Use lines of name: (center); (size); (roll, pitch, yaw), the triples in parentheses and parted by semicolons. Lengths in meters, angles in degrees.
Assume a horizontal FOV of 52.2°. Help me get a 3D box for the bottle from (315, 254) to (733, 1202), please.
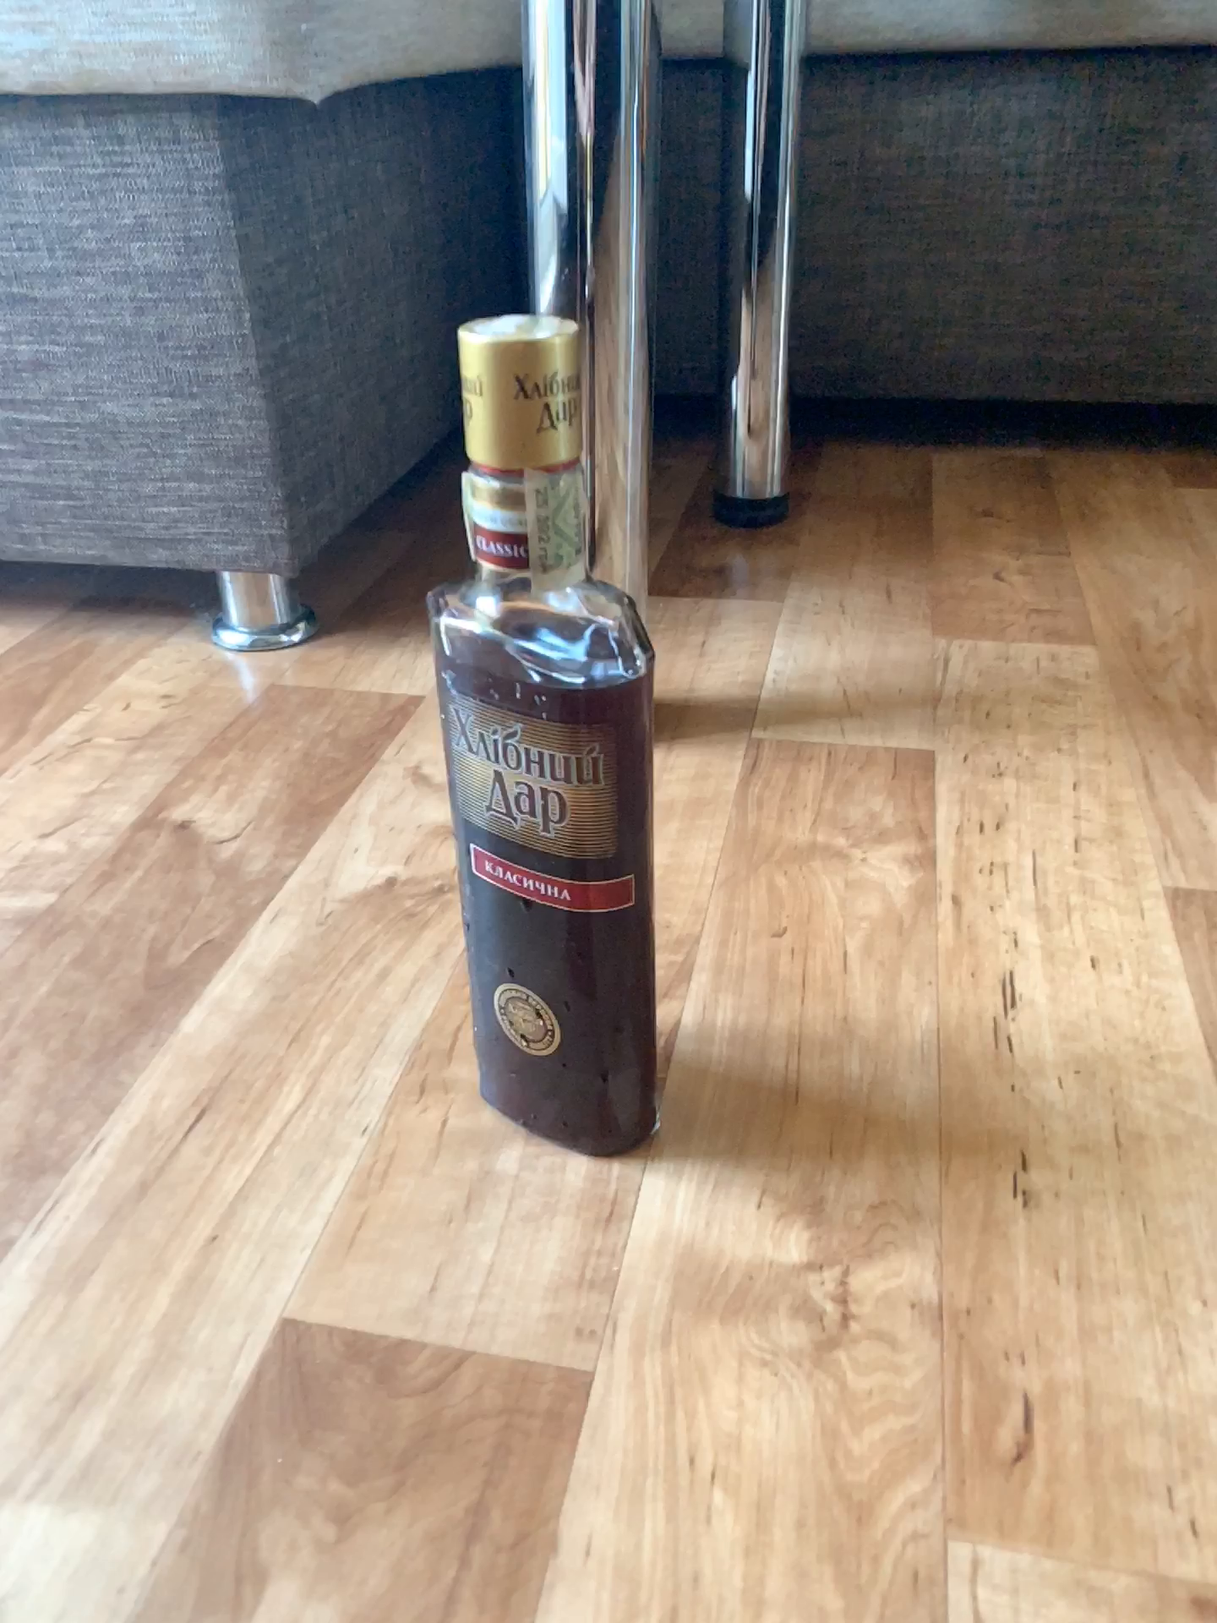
bottle: (-0.018, -0.016, 0.340); (0.050, 0.239, 0.090); (-24, 37, -33)
